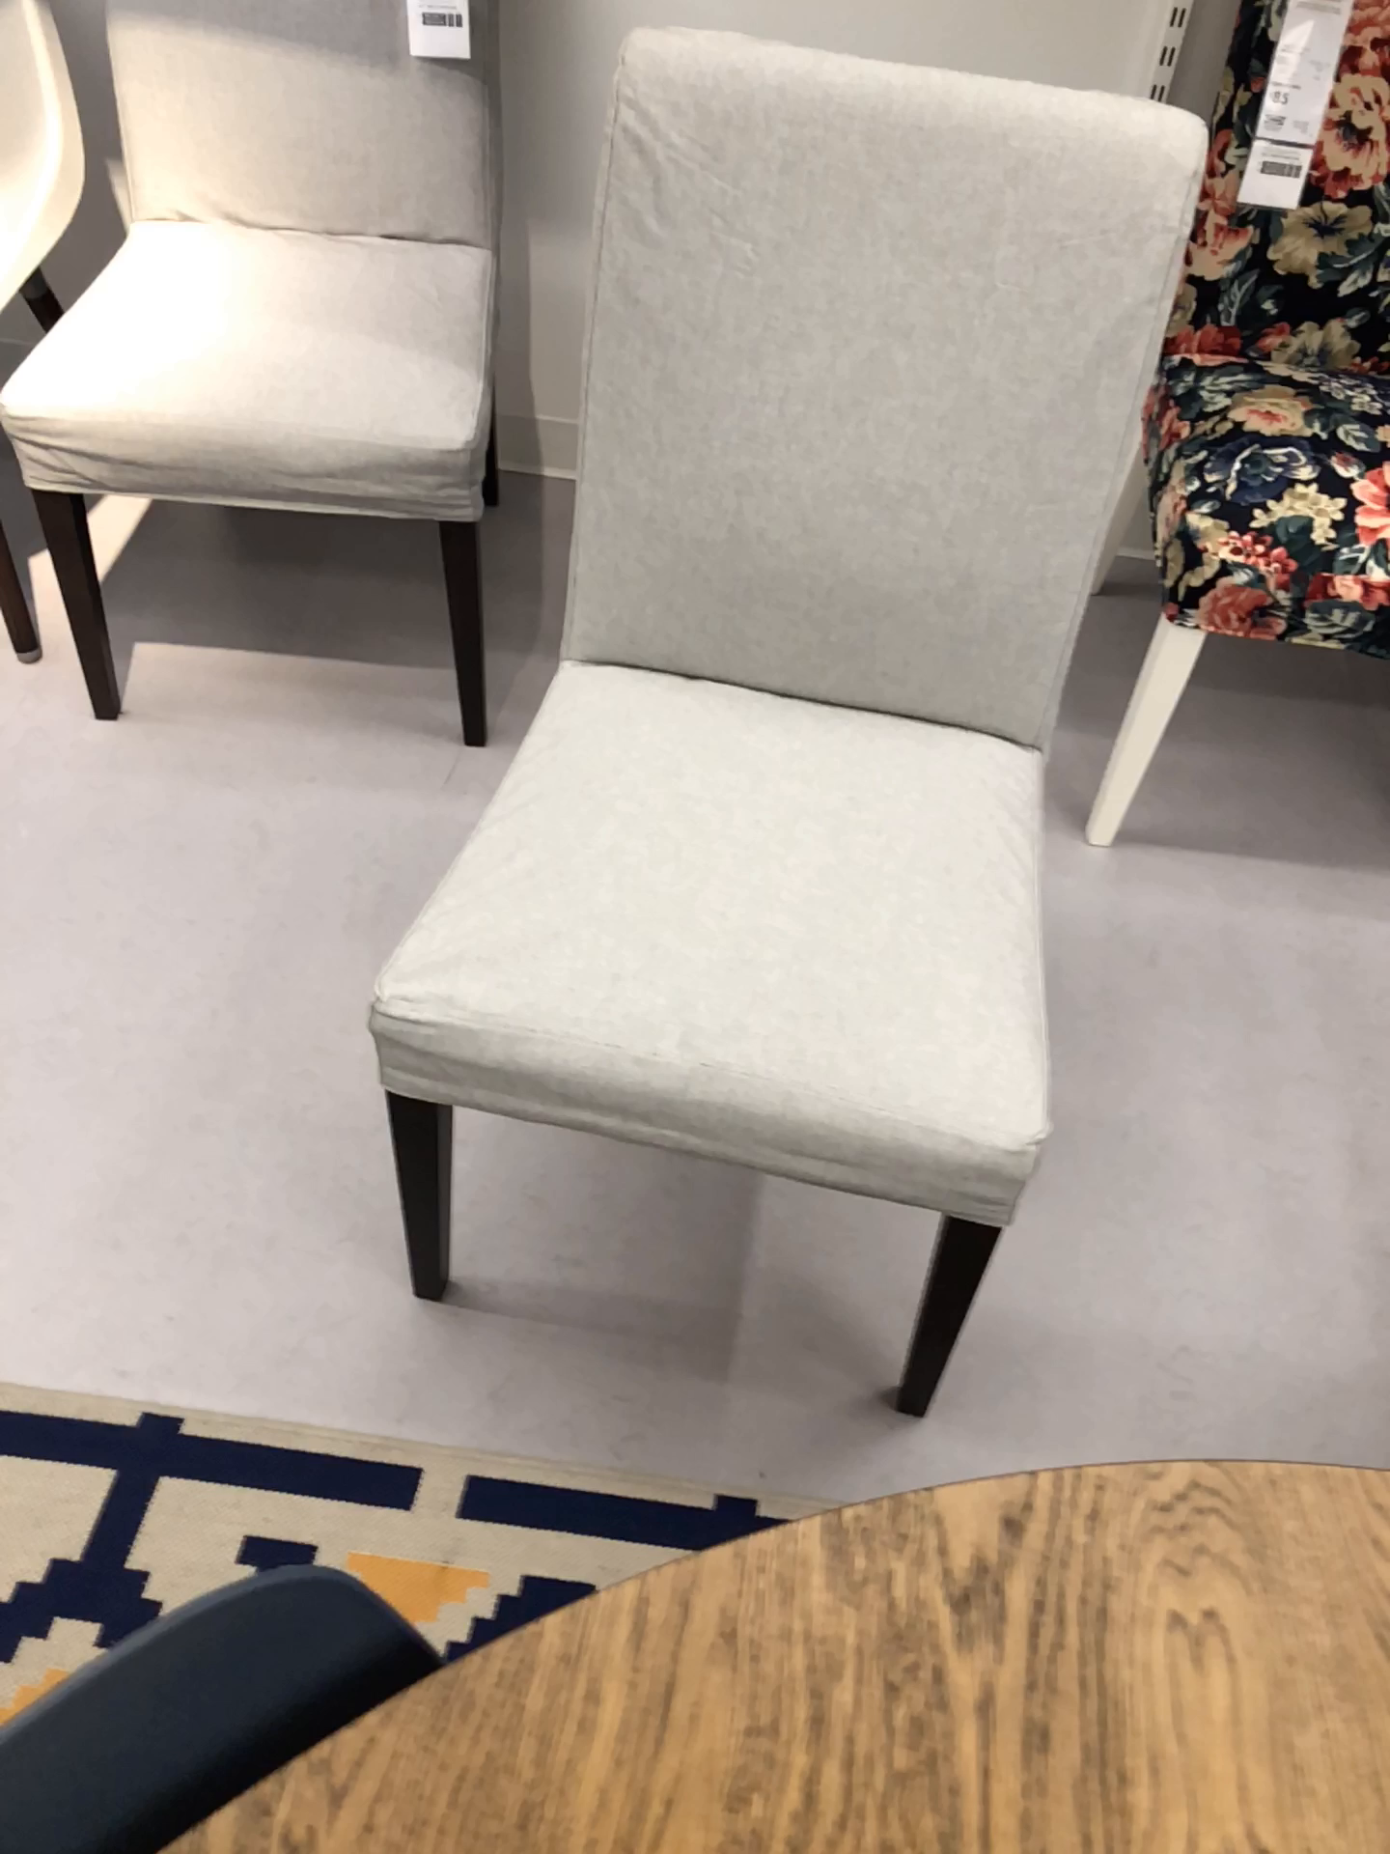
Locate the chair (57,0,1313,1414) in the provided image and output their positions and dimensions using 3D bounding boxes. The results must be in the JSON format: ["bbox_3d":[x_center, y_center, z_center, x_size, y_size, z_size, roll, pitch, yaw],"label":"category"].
[{"bbox_3d":[0.018,-0.160,1.192,0.560,0.855,0.644,11,48,5],"label":"chair"}]
